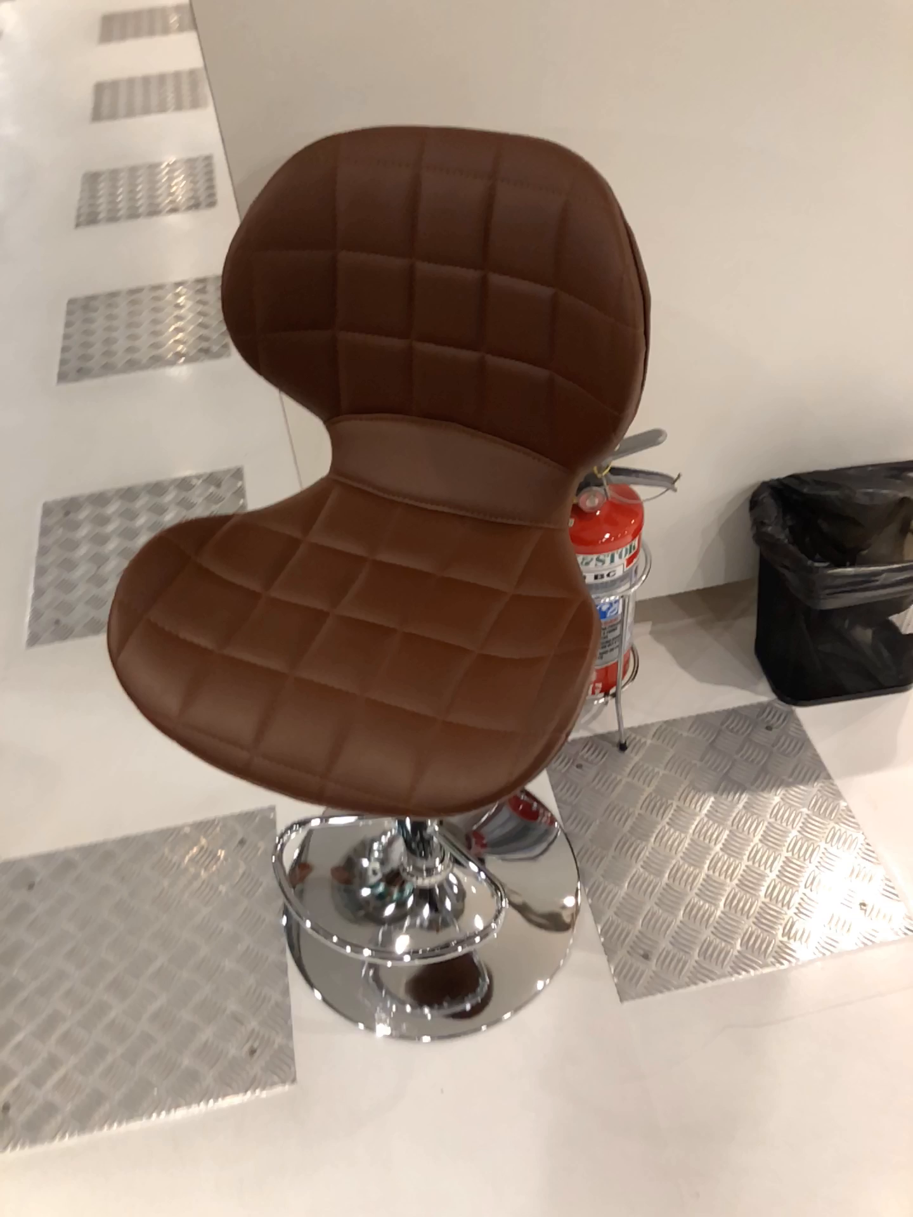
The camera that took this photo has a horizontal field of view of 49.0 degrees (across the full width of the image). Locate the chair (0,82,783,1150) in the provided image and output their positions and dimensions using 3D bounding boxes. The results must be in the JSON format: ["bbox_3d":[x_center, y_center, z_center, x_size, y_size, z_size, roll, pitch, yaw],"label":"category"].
[{"bbox_3d":[-0.074,0.054,1.057,0.541,0.924,0.492,19,51,22],"label":"chair"}]
